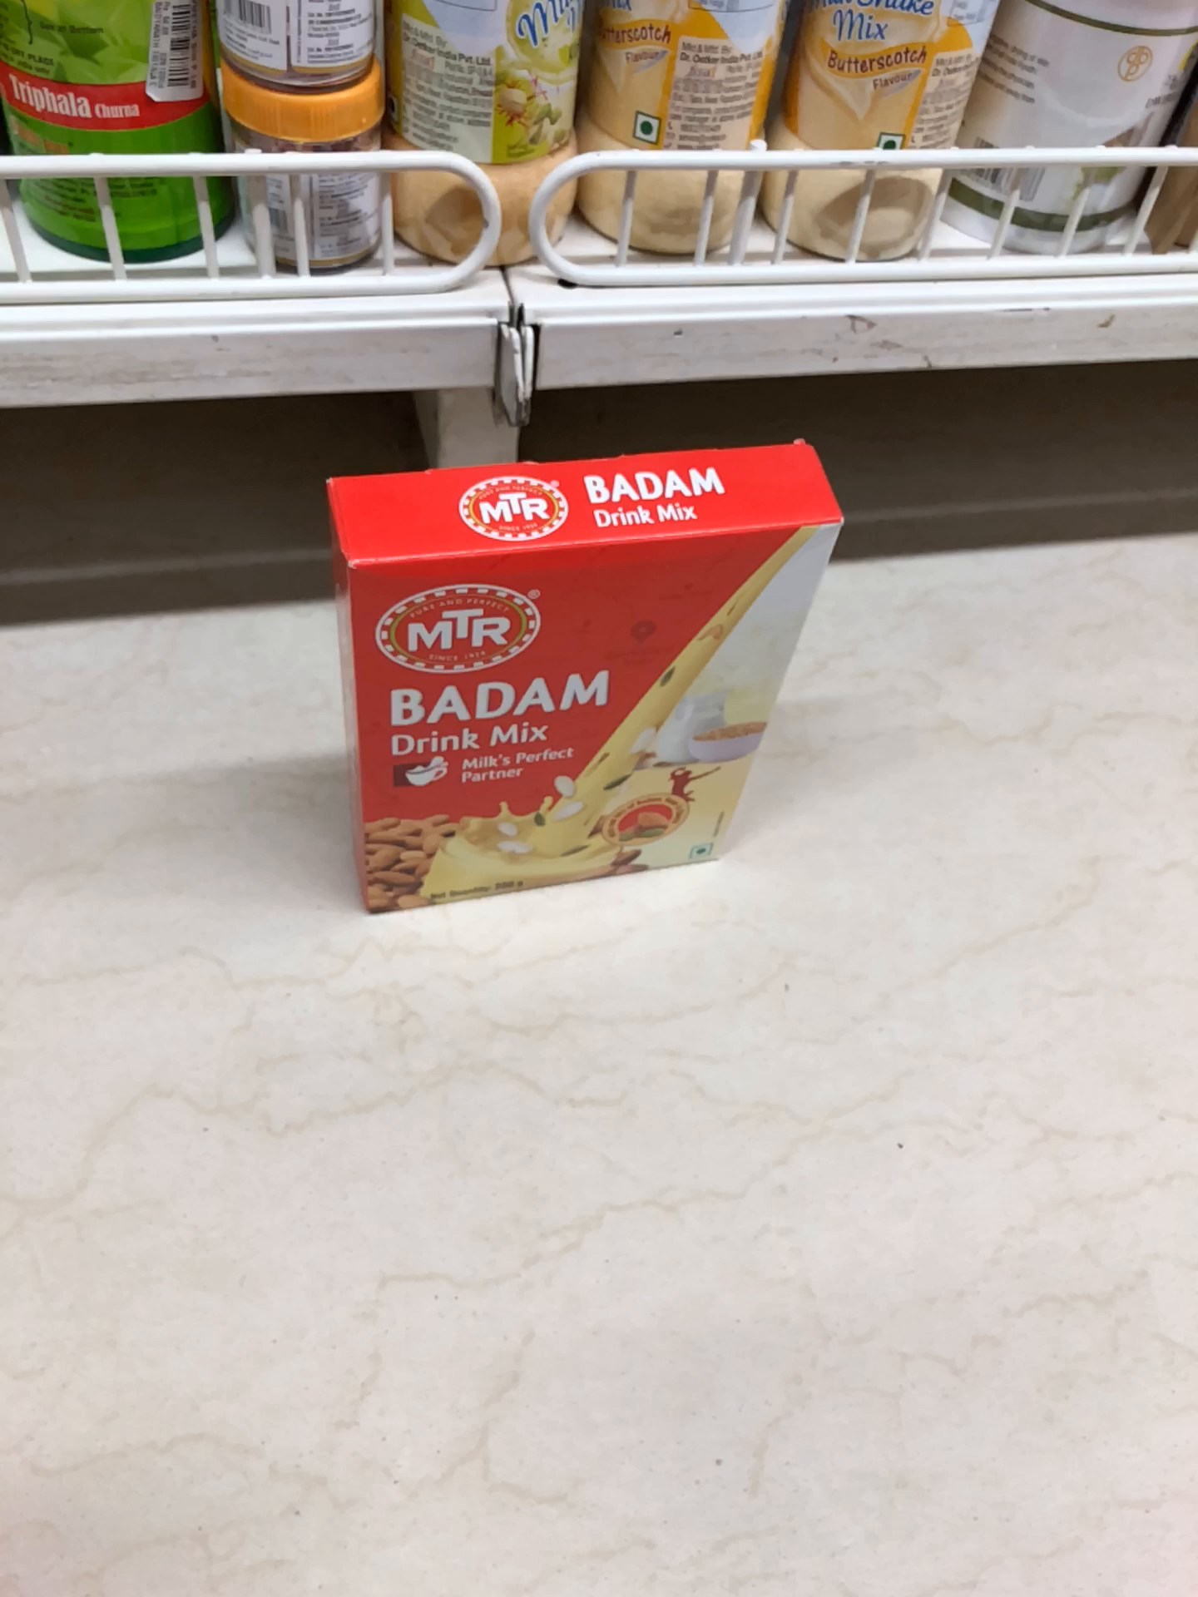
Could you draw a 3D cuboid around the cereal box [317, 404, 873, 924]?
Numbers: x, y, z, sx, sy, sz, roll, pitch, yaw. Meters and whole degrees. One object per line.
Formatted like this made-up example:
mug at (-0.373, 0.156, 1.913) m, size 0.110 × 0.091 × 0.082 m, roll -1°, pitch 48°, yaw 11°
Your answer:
cereal box at (-0.009, -0.032, 0.388) m, size 0.130 × 0.159 × 0.040 m, roll -9°, pitch 56°, yaw -15°
